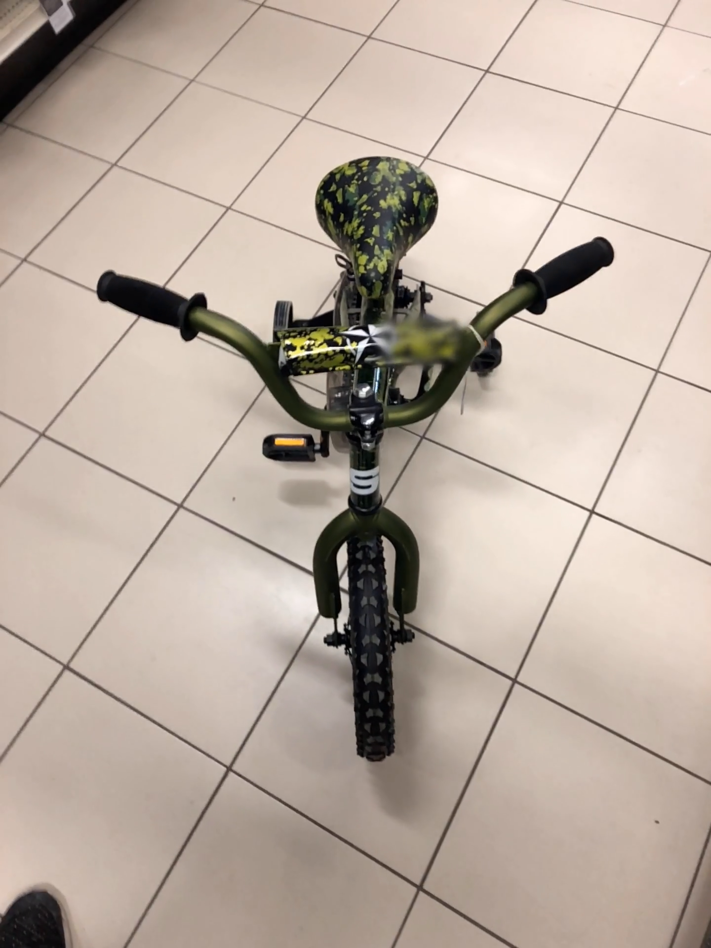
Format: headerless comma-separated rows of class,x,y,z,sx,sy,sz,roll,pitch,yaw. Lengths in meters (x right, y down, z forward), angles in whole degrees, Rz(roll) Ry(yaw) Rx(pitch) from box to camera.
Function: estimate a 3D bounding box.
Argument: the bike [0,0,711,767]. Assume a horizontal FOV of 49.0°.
bike,0.035,-0.110,0.967,0.532,0.557,0.819,-1,61,4
